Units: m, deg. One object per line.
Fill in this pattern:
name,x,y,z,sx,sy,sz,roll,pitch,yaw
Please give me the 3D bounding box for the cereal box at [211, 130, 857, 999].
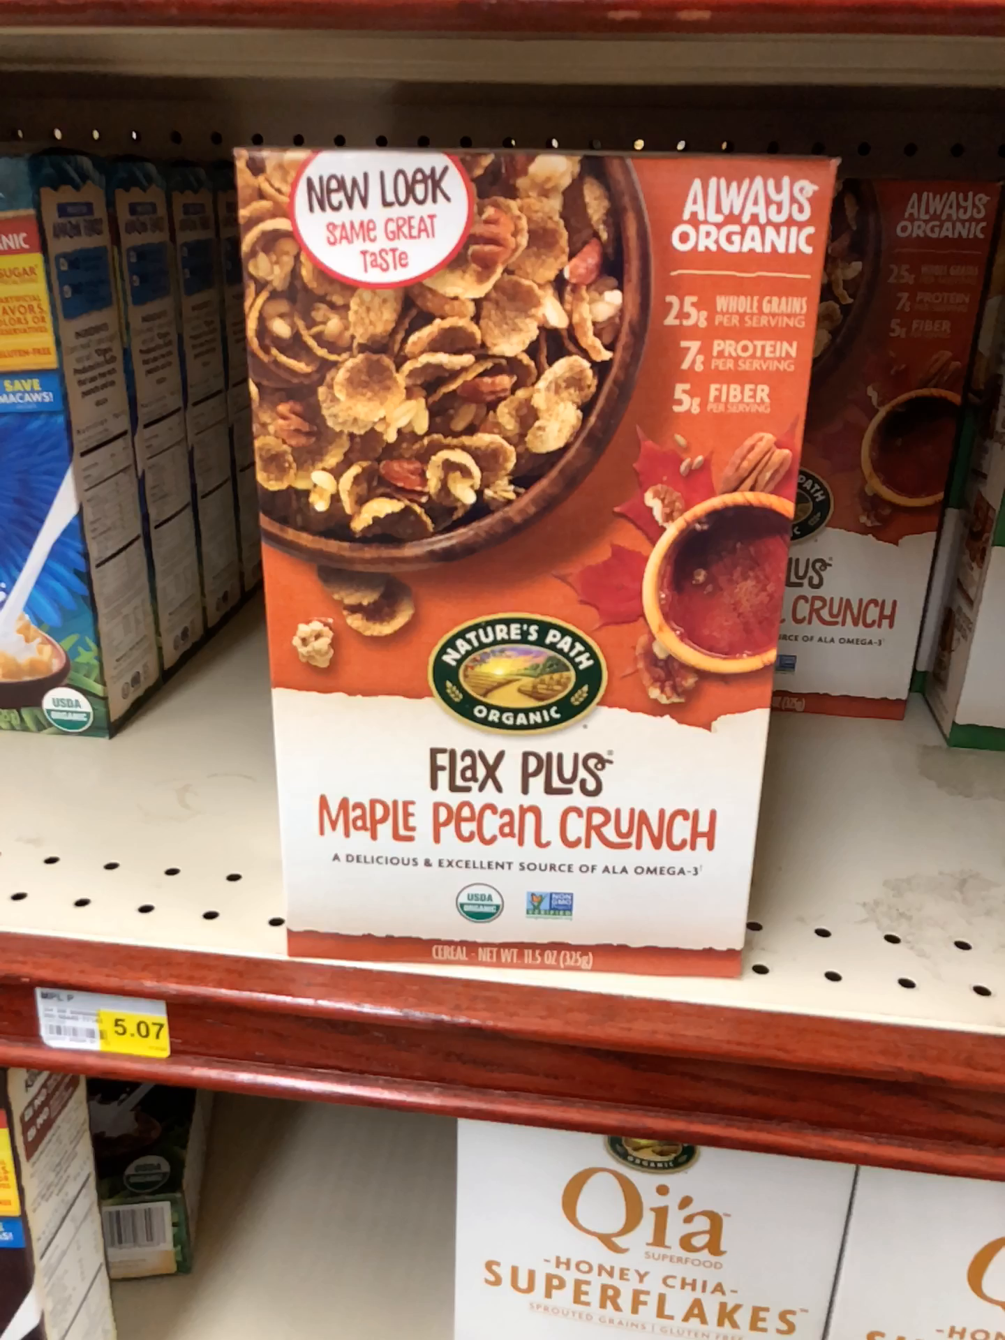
cereal box,0.007,-0.024,0.352,0.160,0.259,0.060,2,22,3
